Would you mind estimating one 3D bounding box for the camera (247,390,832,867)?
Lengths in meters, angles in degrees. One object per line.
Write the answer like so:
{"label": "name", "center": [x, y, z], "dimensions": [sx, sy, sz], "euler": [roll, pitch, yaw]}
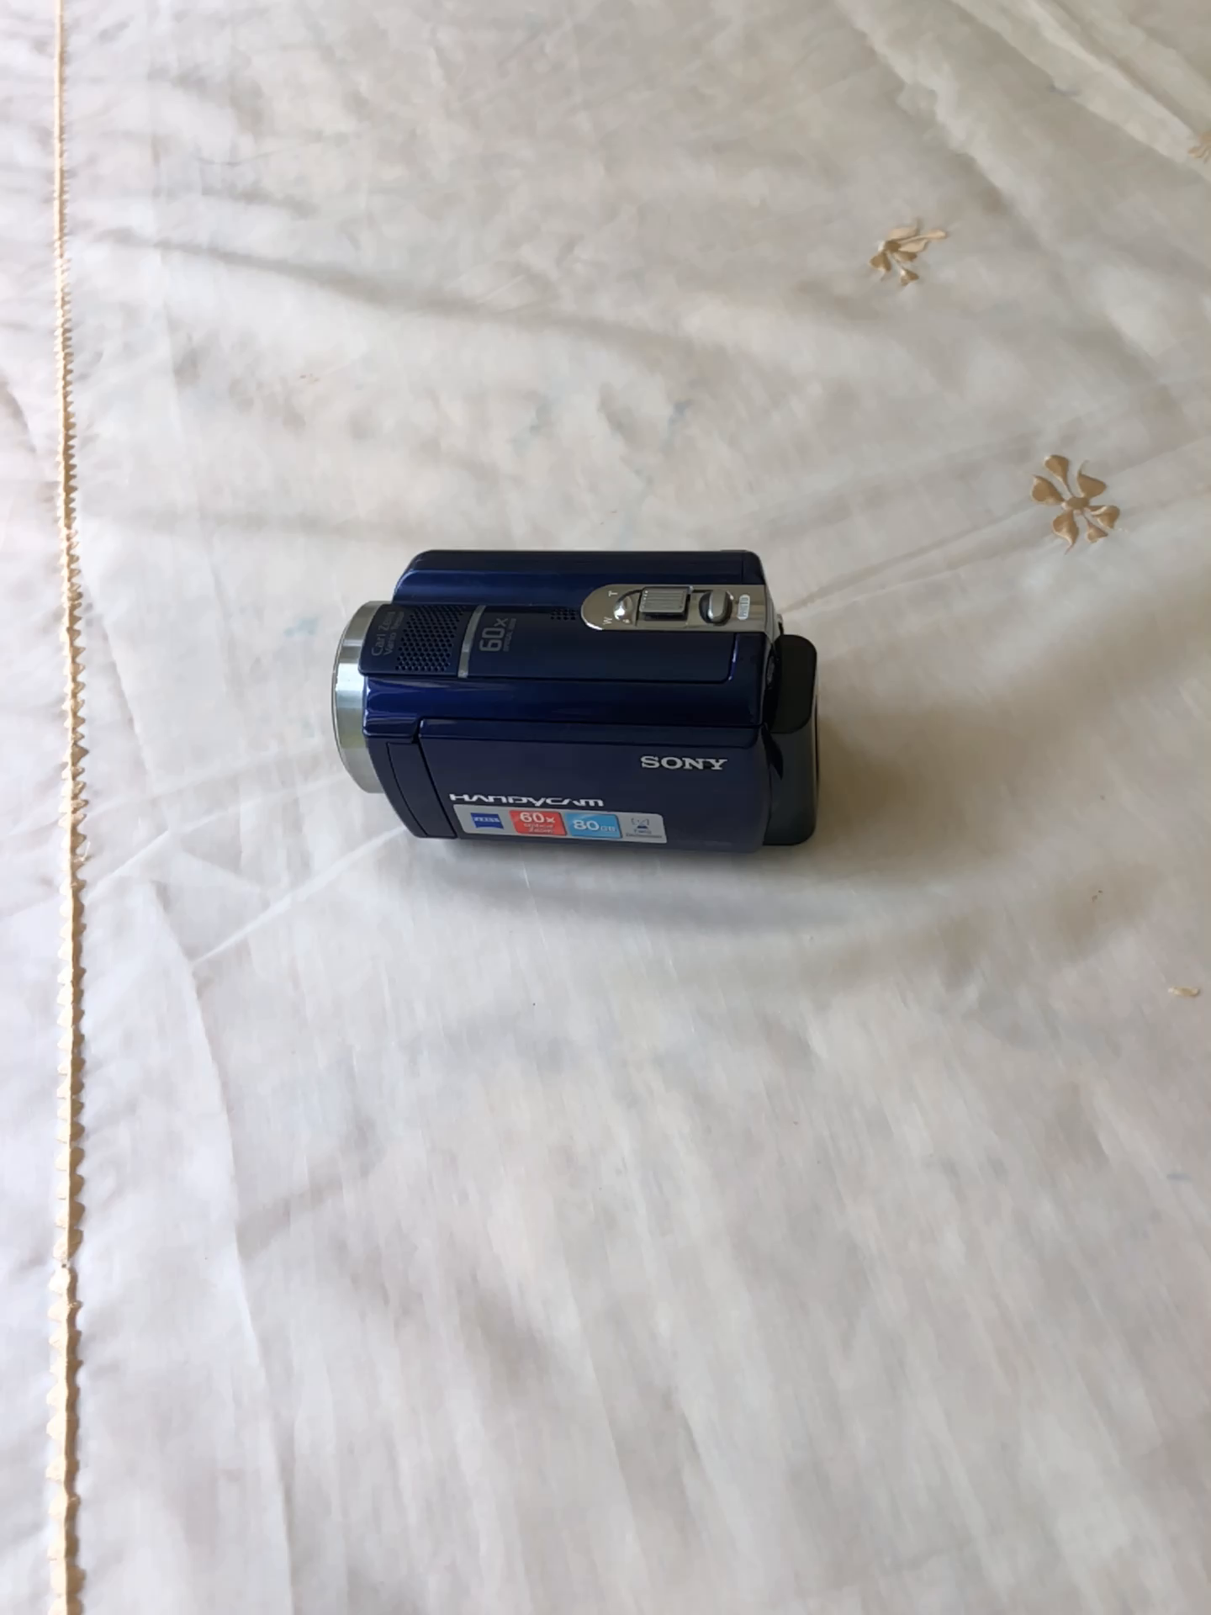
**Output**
{"label": "camera", "center": [-0.008, -0.045, 0.334], "dimensions": [0.119, 0.070, 0.090], "euler": [2, 53, 13]}
